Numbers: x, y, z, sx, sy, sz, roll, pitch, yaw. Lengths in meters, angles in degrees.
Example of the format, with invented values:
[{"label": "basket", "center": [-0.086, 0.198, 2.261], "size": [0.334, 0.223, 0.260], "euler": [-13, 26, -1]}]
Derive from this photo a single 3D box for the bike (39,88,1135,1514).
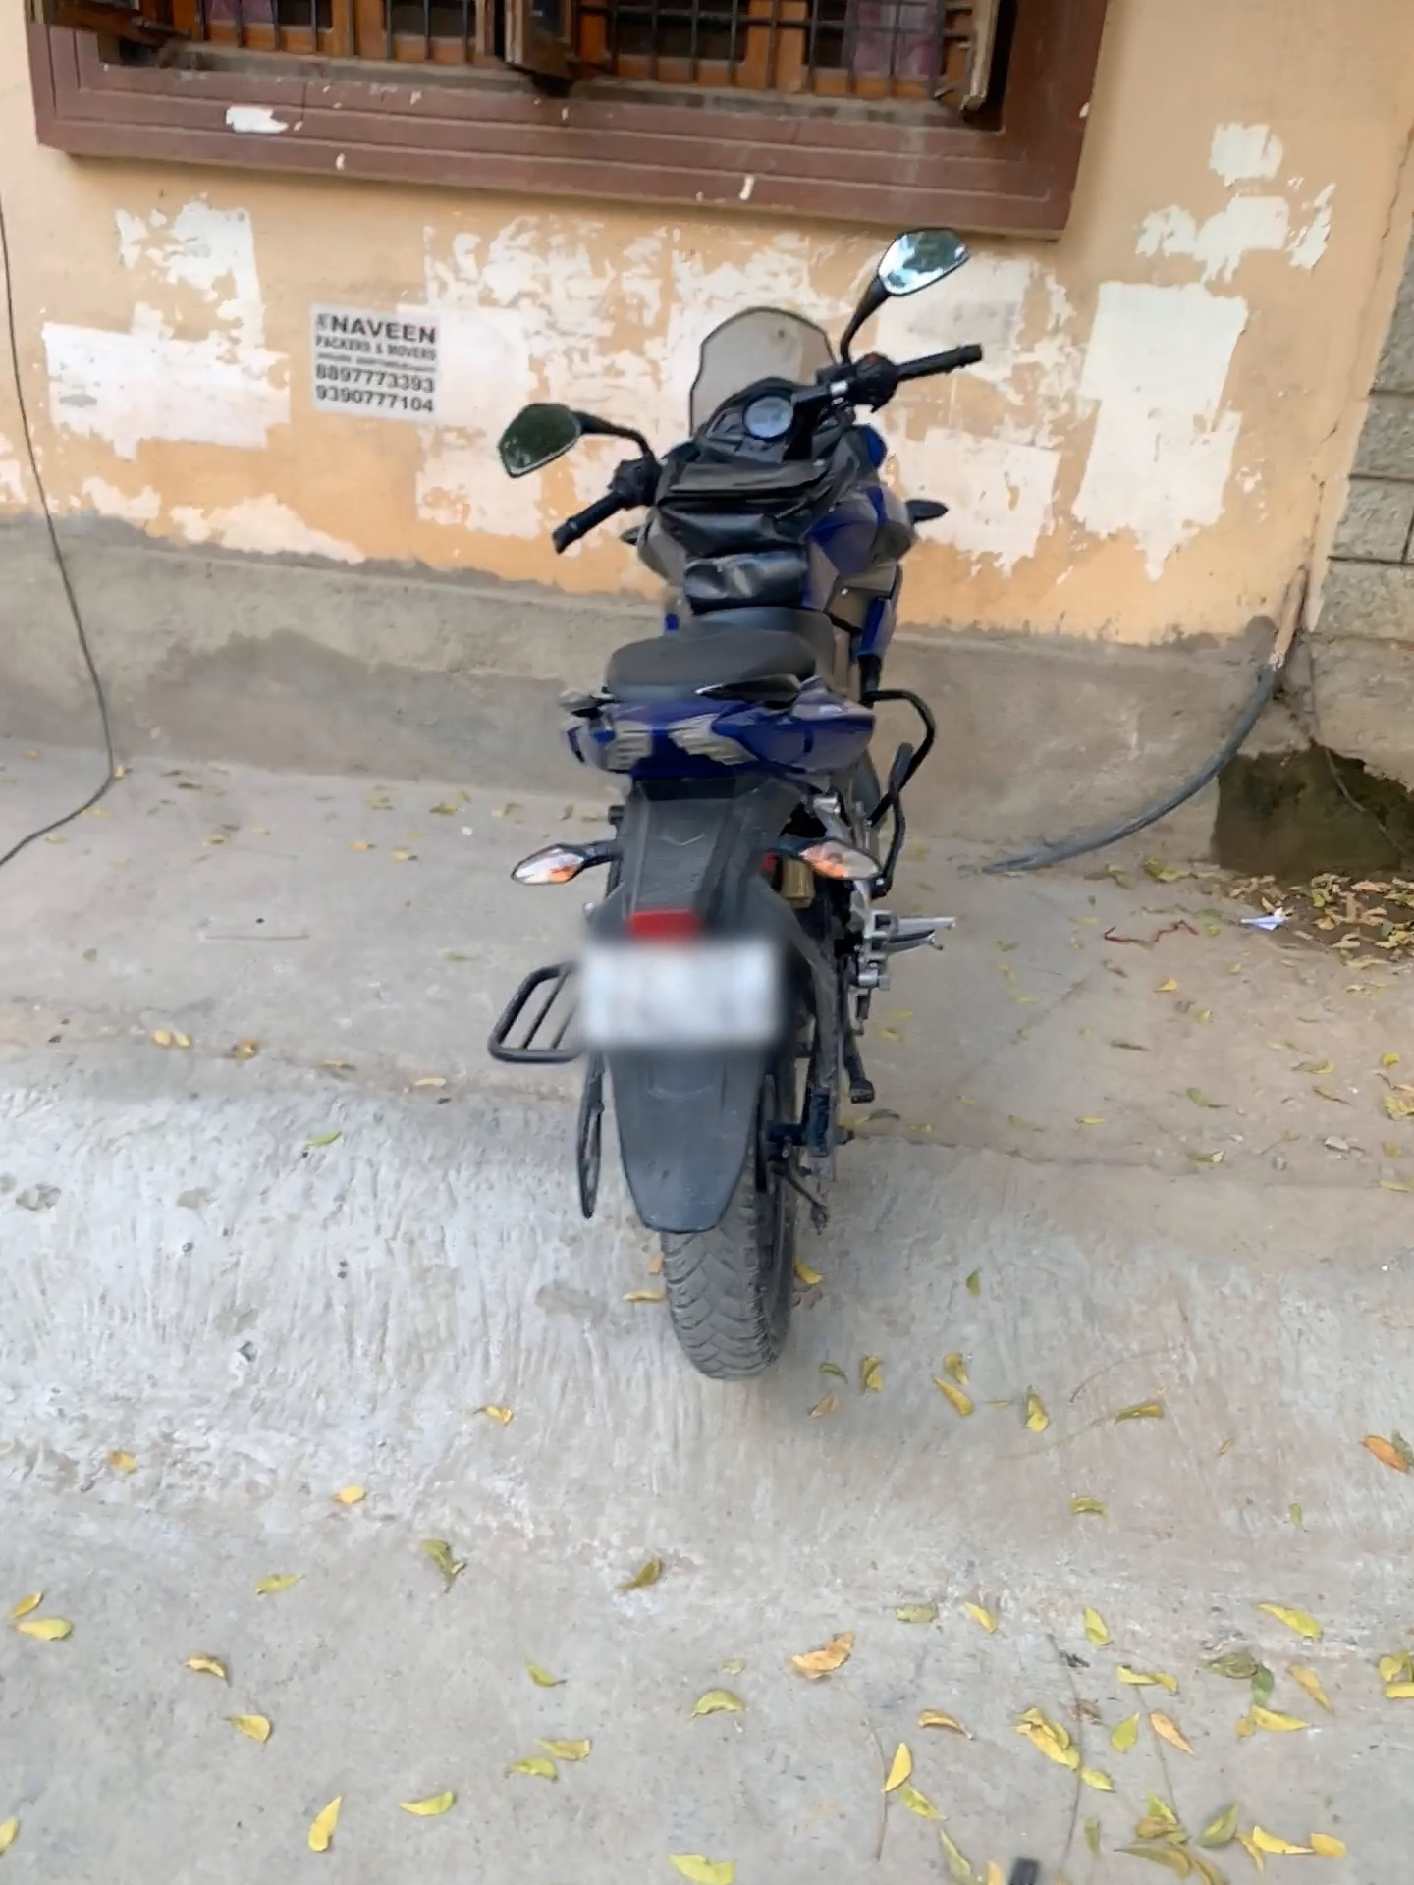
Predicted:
[{"label": "bike", "center": [-0.205, -0.395, 2.143], "size": [0.953, 1.218, 1.574], "euler": [3, 34, -3]}]
